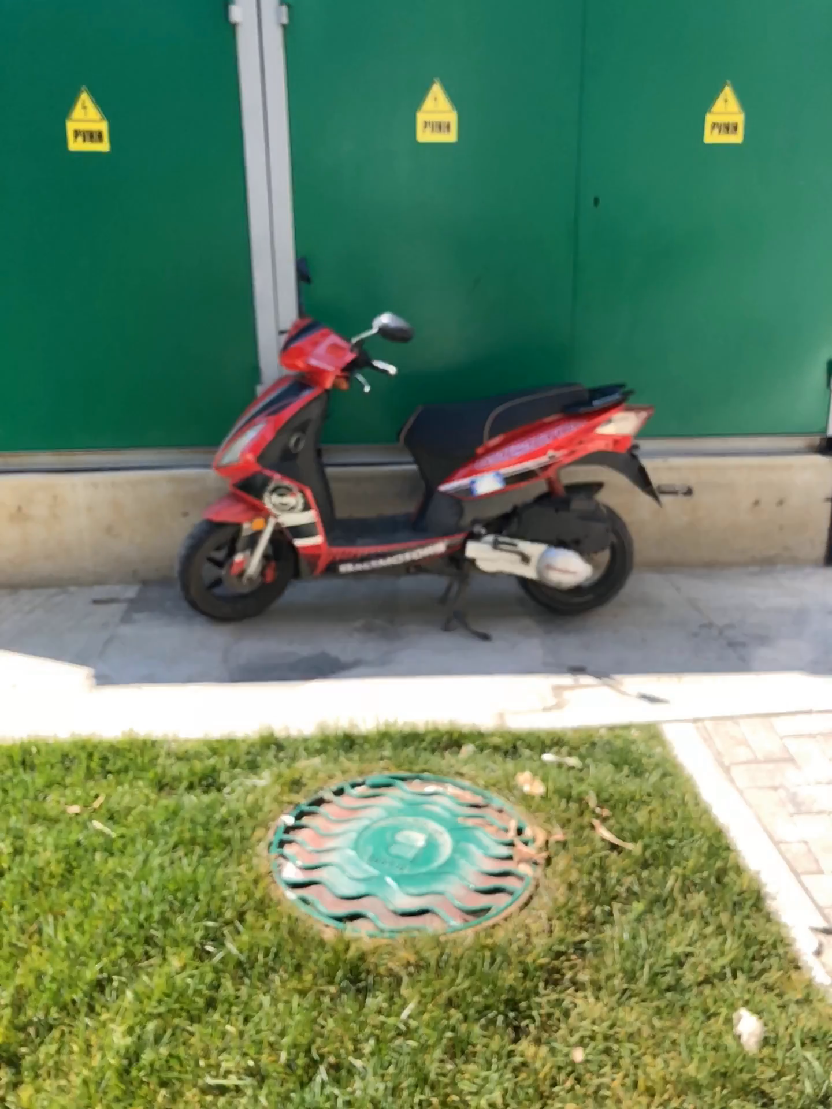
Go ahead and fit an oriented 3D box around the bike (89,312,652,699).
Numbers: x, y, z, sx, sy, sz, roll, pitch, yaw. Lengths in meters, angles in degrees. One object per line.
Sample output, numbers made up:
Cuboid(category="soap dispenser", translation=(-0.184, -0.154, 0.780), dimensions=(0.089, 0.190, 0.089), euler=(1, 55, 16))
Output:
Cuboid(category="bike", translation=(-0.044, -0.199, 3.054), dimensions=(1.590, 1.086, 0.591), euler=(-2, 17, -2))
